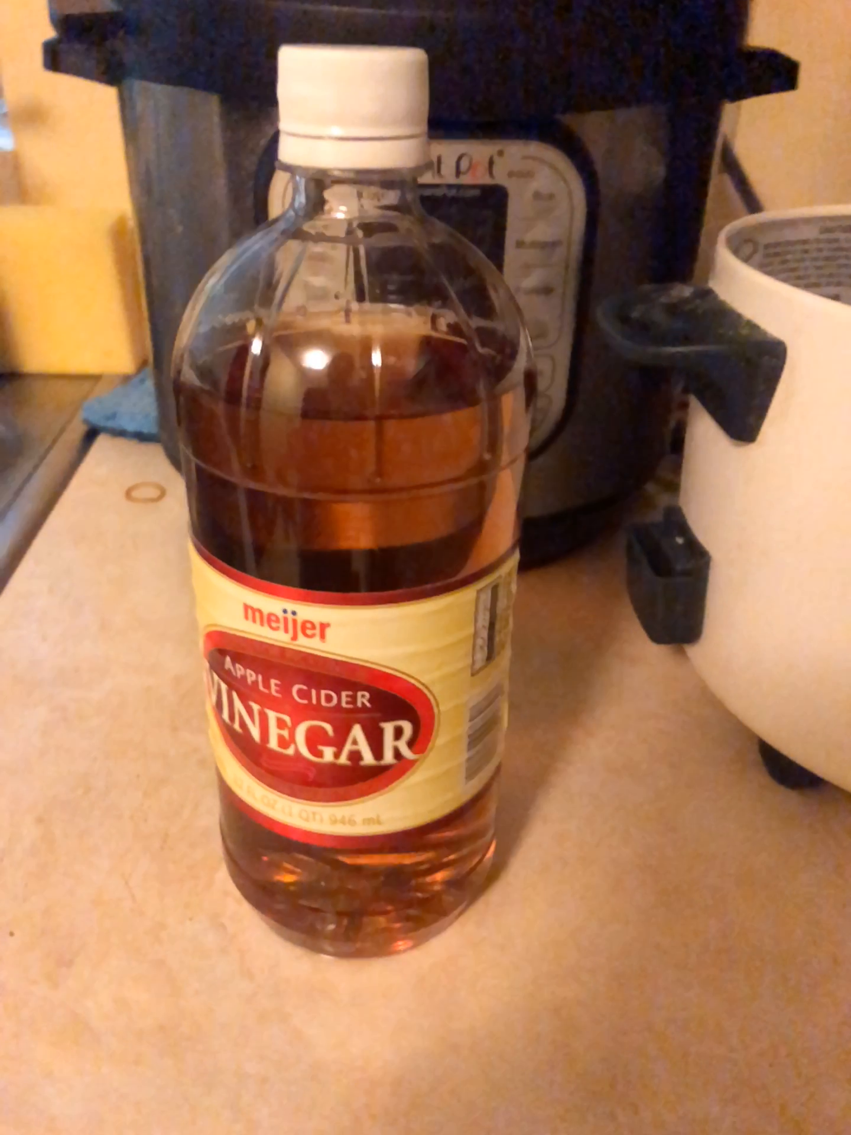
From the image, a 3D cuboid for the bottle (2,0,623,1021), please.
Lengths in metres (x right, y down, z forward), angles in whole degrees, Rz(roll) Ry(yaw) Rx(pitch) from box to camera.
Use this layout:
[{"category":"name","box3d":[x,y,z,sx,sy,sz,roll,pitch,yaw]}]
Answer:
[{"category":"bottle","box3d":[-0.019,-0.009,0.238,0.090,0.229,0.080,13,32,19]}]
